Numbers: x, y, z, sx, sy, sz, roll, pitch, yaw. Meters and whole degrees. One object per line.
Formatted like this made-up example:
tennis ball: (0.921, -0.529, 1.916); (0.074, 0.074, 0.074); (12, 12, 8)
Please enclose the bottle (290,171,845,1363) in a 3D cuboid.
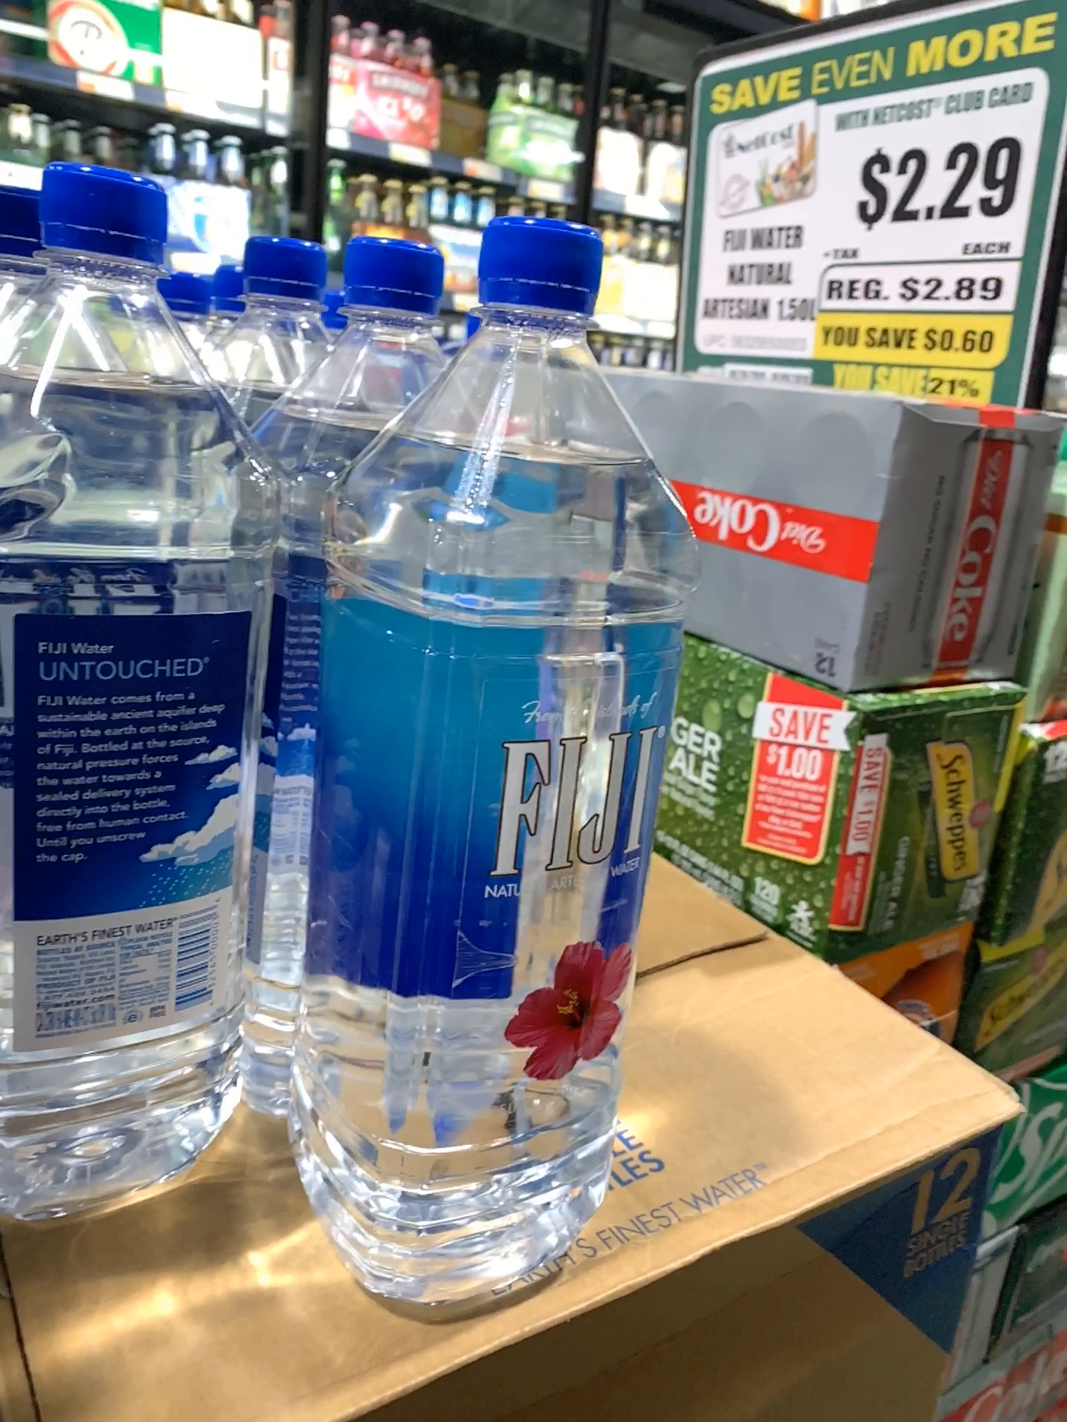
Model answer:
bottle: (-0.003, 0.019, 0.296); (0.090, 0.279, 0.080); (-4, 19, -30)
